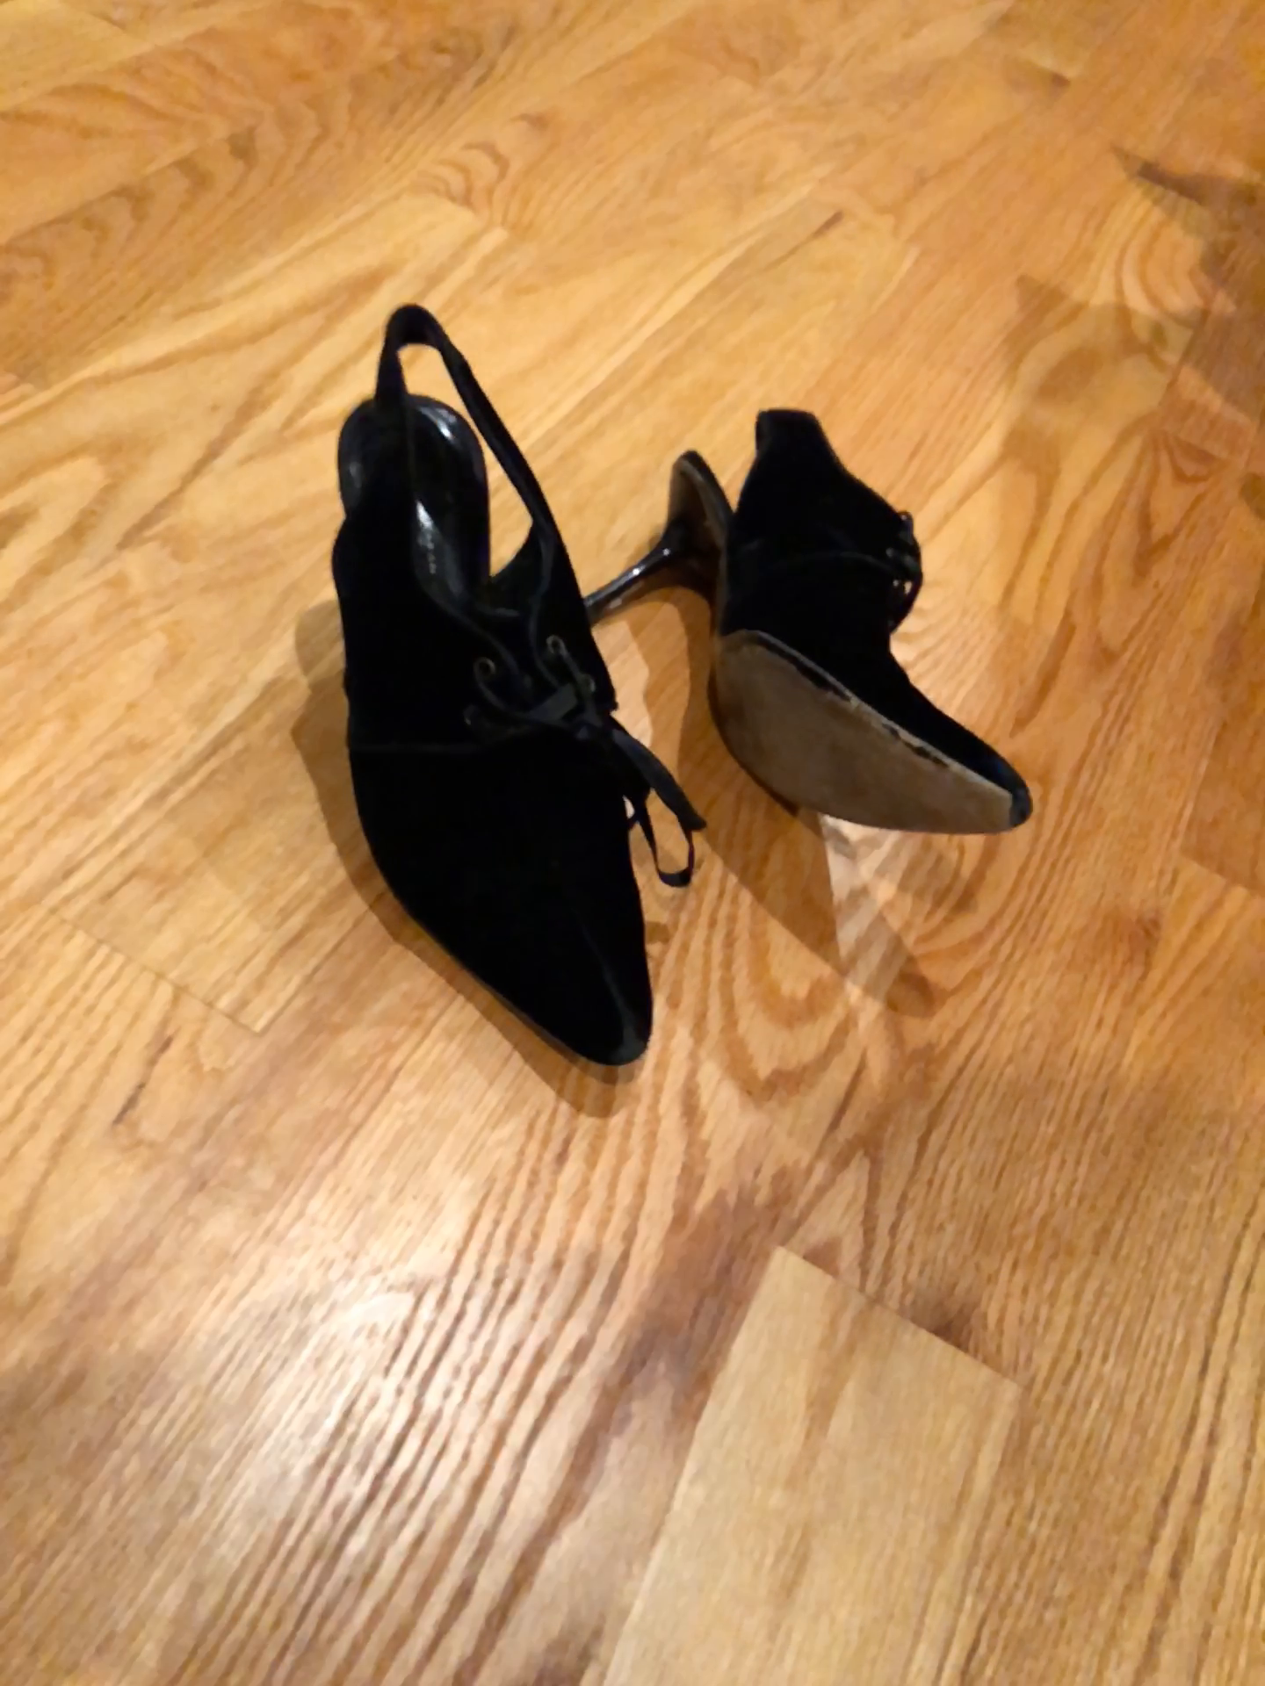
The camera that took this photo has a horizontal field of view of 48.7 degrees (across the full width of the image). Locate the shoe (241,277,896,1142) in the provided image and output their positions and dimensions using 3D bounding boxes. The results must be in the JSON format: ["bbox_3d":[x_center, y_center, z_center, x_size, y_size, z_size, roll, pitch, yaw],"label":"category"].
[{"bbox_3d":[-0.041,-0.056,0.446,0.107,0.117,0.253,-10,55,-24],"label":"shoe"}]

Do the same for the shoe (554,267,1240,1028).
[{"bbox_3d":[0.070,-0.079,0.488,0.118,0.107,0.253,-6,53,-20],"label":"shoe"}]
